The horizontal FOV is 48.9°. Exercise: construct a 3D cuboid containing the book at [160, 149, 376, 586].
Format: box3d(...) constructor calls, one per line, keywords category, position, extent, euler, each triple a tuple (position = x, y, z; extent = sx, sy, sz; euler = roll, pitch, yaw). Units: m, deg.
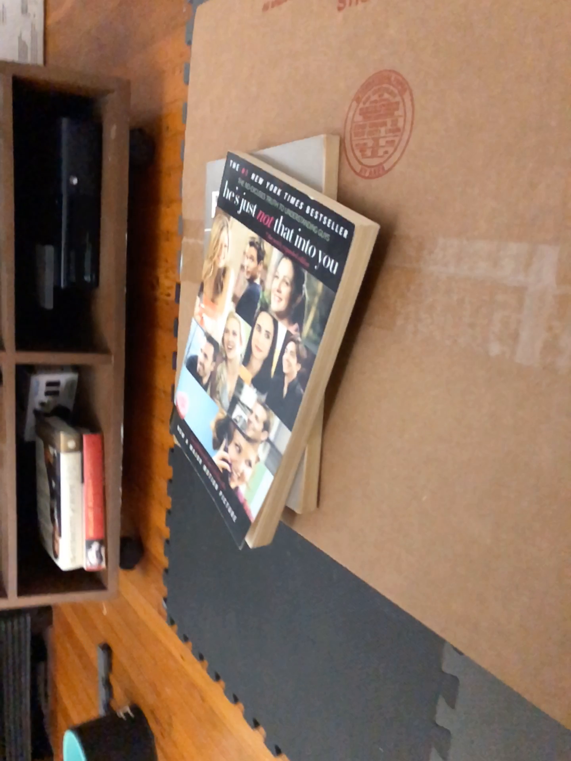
box3d(category="book", position=(-0.028, -0.009, 0.396), extent=(0.151, 0.010, 0.230), euler=(44, 128, 45))
